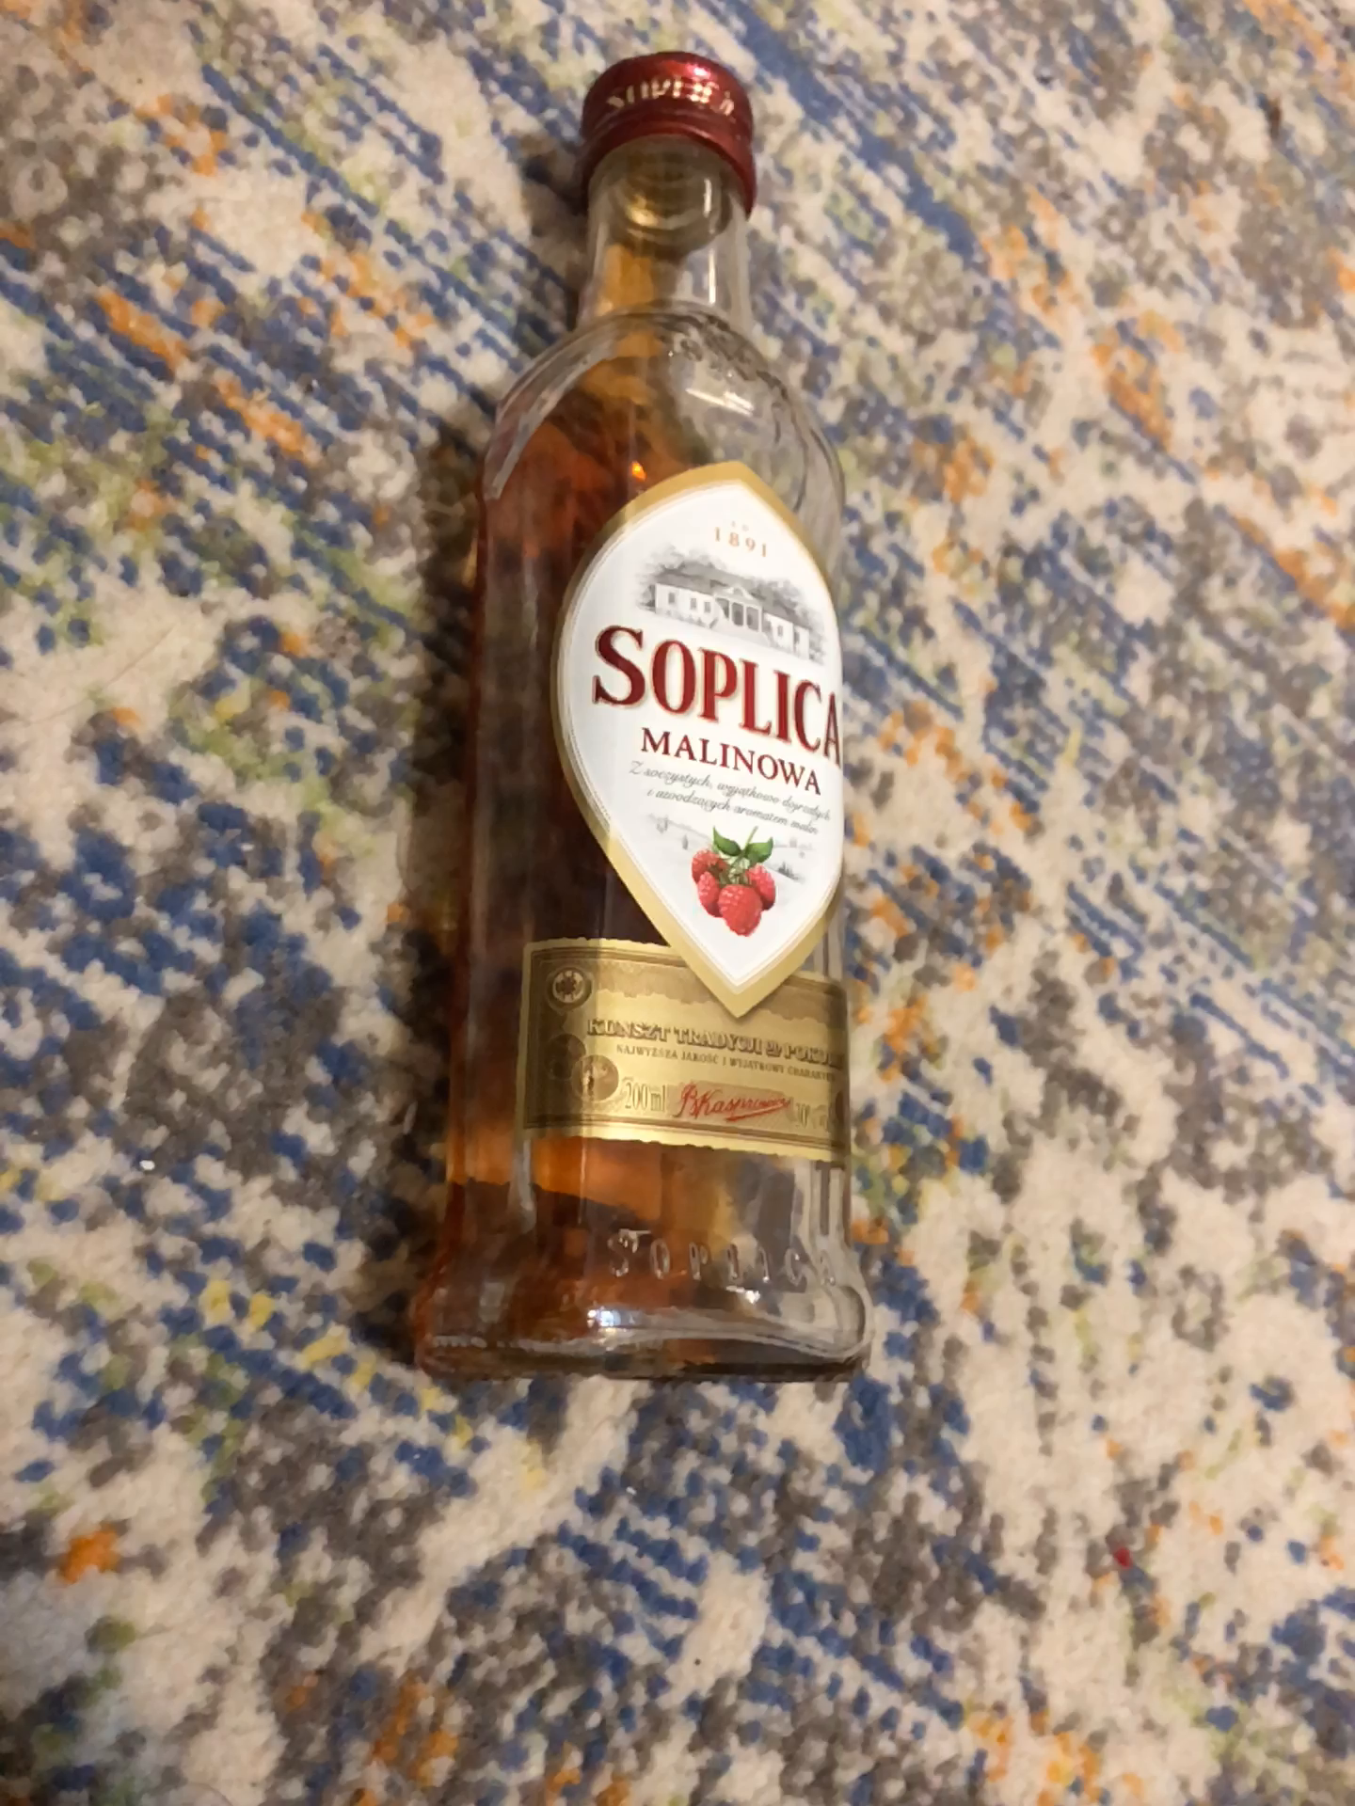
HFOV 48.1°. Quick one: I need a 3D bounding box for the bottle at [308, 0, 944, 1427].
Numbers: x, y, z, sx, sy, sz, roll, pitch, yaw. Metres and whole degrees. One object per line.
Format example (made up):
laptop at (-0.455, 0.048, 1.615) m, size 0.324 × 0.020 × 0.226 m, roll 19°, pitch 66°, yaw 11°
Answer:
bottle at (-0.005, -0.041, 0.205) m, size 0.060 × 0.040 × 0.210 m, roll 11°, pitch 69°, yaw -29°
